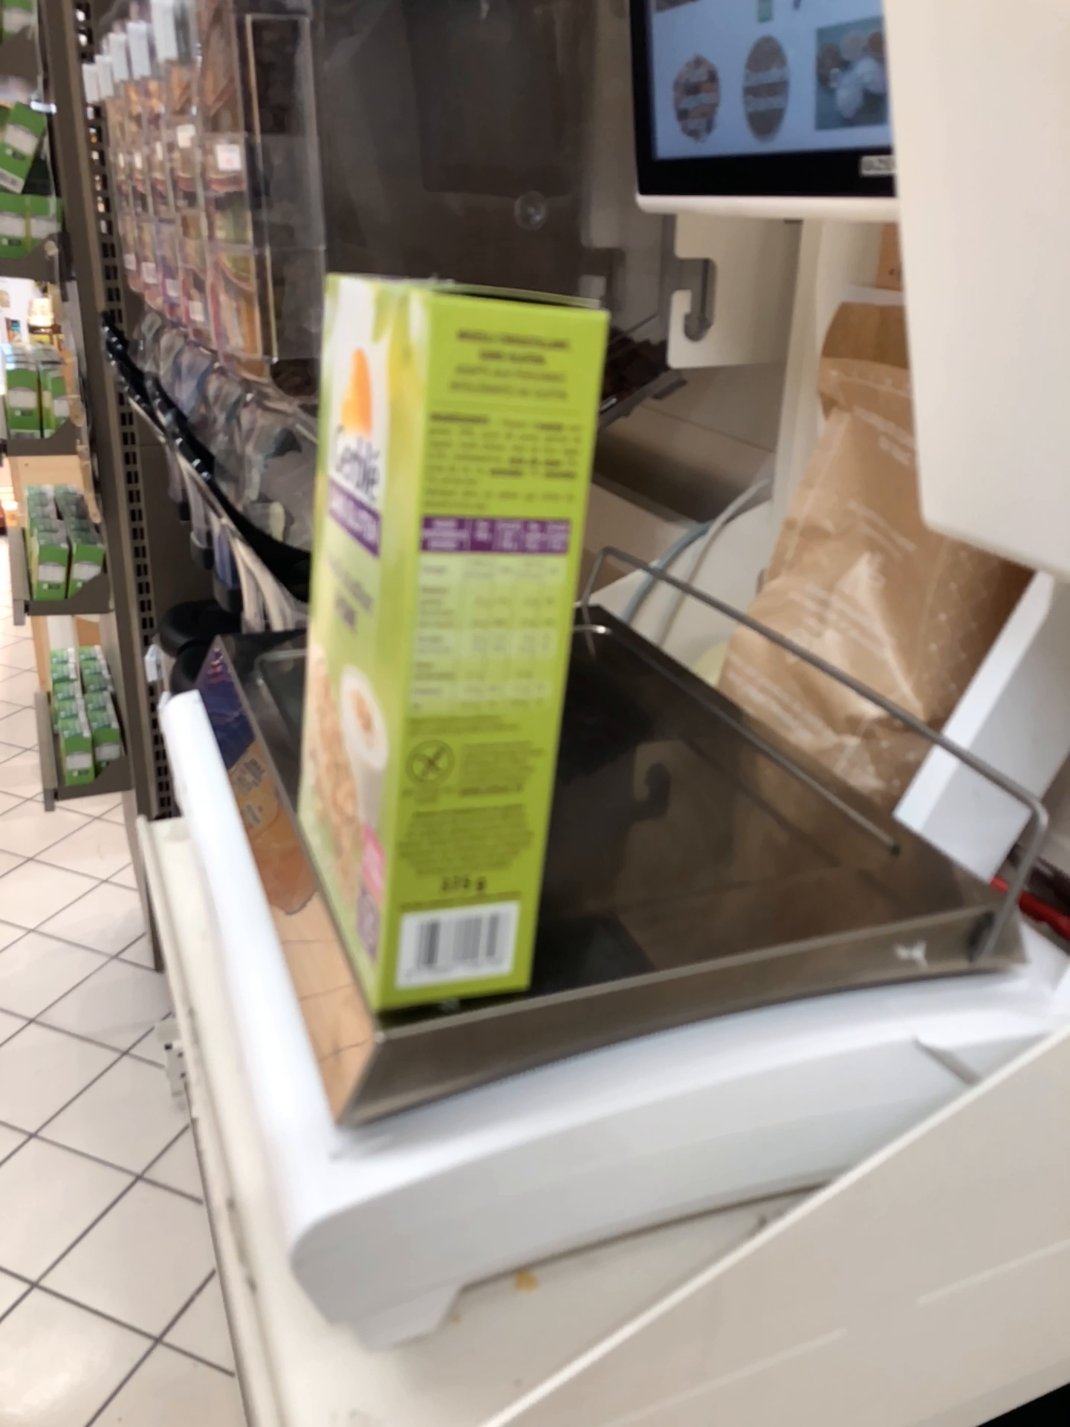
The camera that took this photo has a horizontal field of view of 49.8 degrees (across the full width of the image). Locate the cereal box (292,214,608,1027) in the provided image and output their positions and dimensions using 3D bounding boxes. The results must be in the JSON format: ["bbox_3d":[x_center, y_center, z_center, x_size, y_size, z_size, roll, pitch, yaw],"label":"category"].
[{"bbox_3d":[-0.042,-0.039,0.390,0.050,0.229,0.150,-1,20,-20],"label":"cereal box"}]
